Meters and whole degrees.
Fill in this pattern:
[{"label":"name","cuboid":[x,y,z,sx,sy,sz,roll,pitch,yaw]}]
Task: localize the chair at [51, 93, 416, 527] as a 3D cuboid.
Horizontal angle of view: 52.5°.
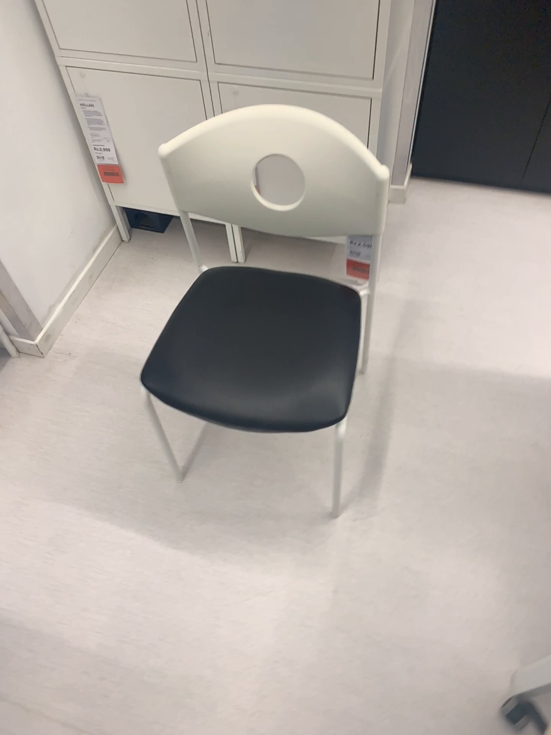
[{"label":"chair","cuboid":[-0.015,-0.078,1.233,0.480,0.768,0.511,9,56,11]}]
